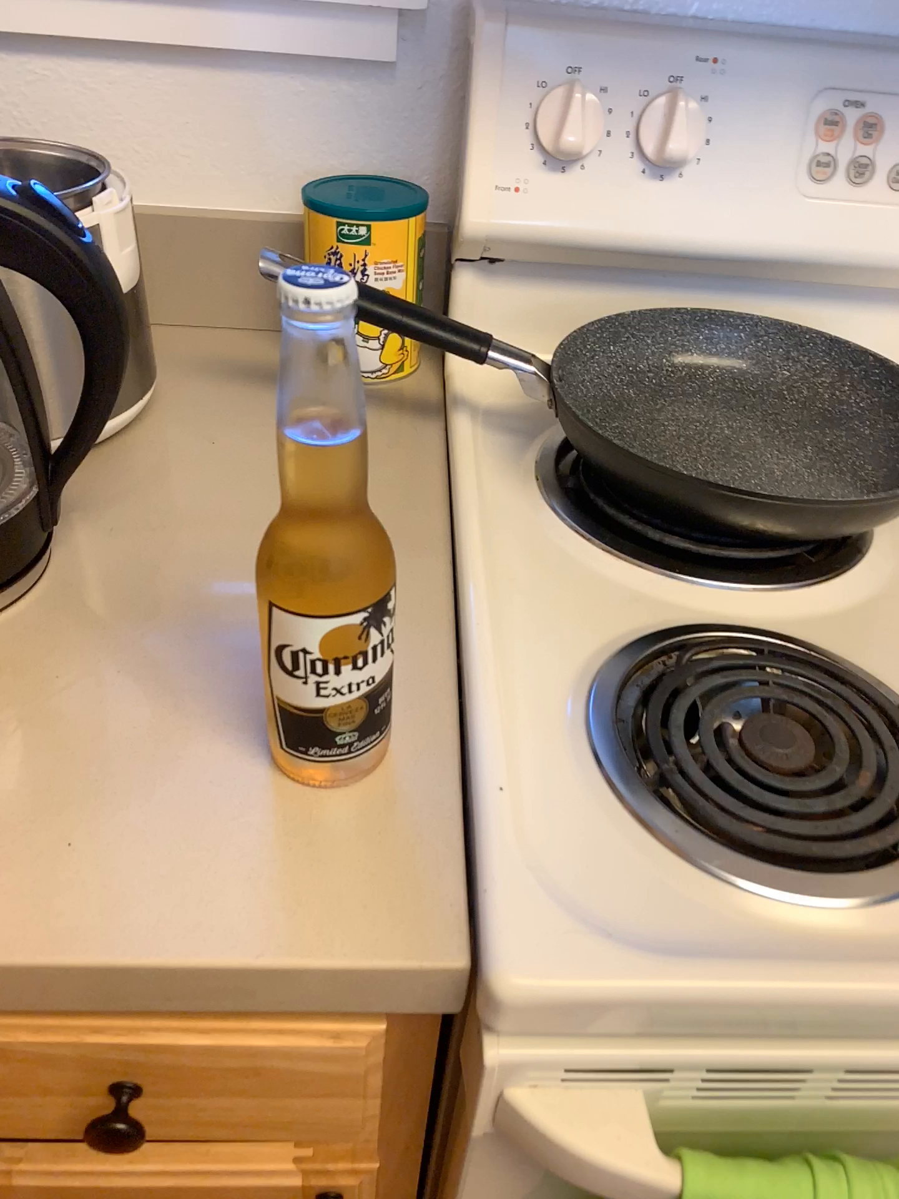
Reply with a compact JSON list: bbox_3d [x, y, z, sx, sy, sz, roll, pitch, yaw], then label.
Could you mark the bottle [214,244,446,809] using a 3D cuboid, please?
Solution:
[{"bbox_3d":[-0.050,-0.019,0.380,0.059,0.226,0.064,3,38,-3],"label":"bottle"}]
